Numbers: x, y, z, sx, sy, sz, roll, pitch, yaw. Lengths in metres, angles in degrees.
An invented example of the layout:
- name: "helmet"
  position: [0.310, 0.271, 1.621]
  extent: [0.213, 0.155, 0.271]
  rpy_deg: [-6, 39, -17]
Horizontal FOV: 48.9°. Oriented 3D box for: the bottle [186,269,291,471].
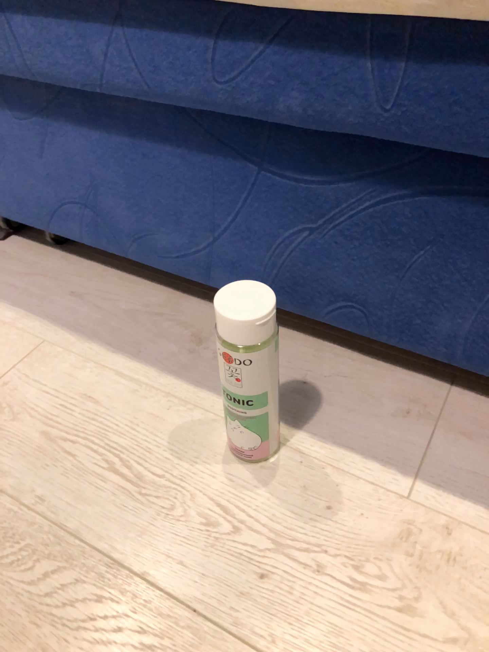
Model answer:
- name: "bottle"
  position: [0.001, 0.040, 0.432]
  extent: [0.057, 0.160, 0.053]
  rpy_deg: [-2, 42, 2]
